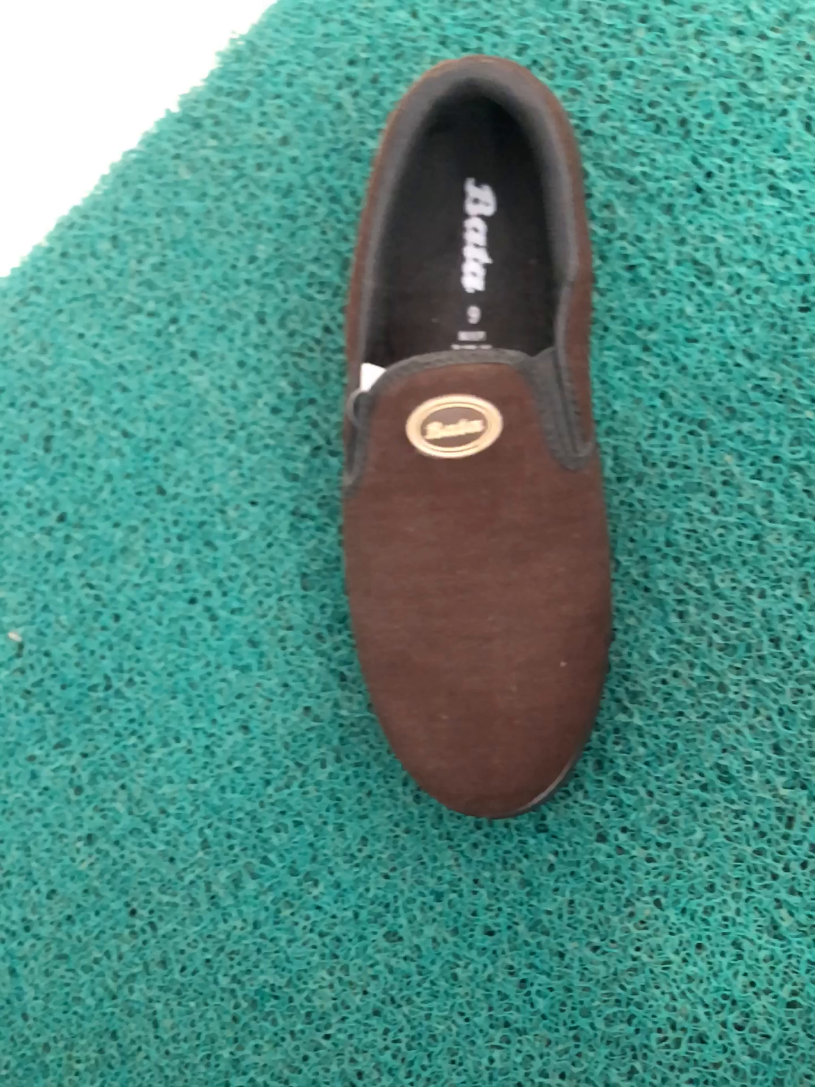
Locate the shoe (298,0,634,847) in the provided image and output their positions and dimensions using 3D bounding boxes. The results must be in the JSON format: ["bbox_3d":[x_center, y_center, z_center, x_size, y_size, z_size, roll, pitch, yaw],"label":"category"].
[{"bbox_3d":[0.027,-0.038,0.336,0.100,0.100,0.260,-1,88,18],"label":"shoe"}]
